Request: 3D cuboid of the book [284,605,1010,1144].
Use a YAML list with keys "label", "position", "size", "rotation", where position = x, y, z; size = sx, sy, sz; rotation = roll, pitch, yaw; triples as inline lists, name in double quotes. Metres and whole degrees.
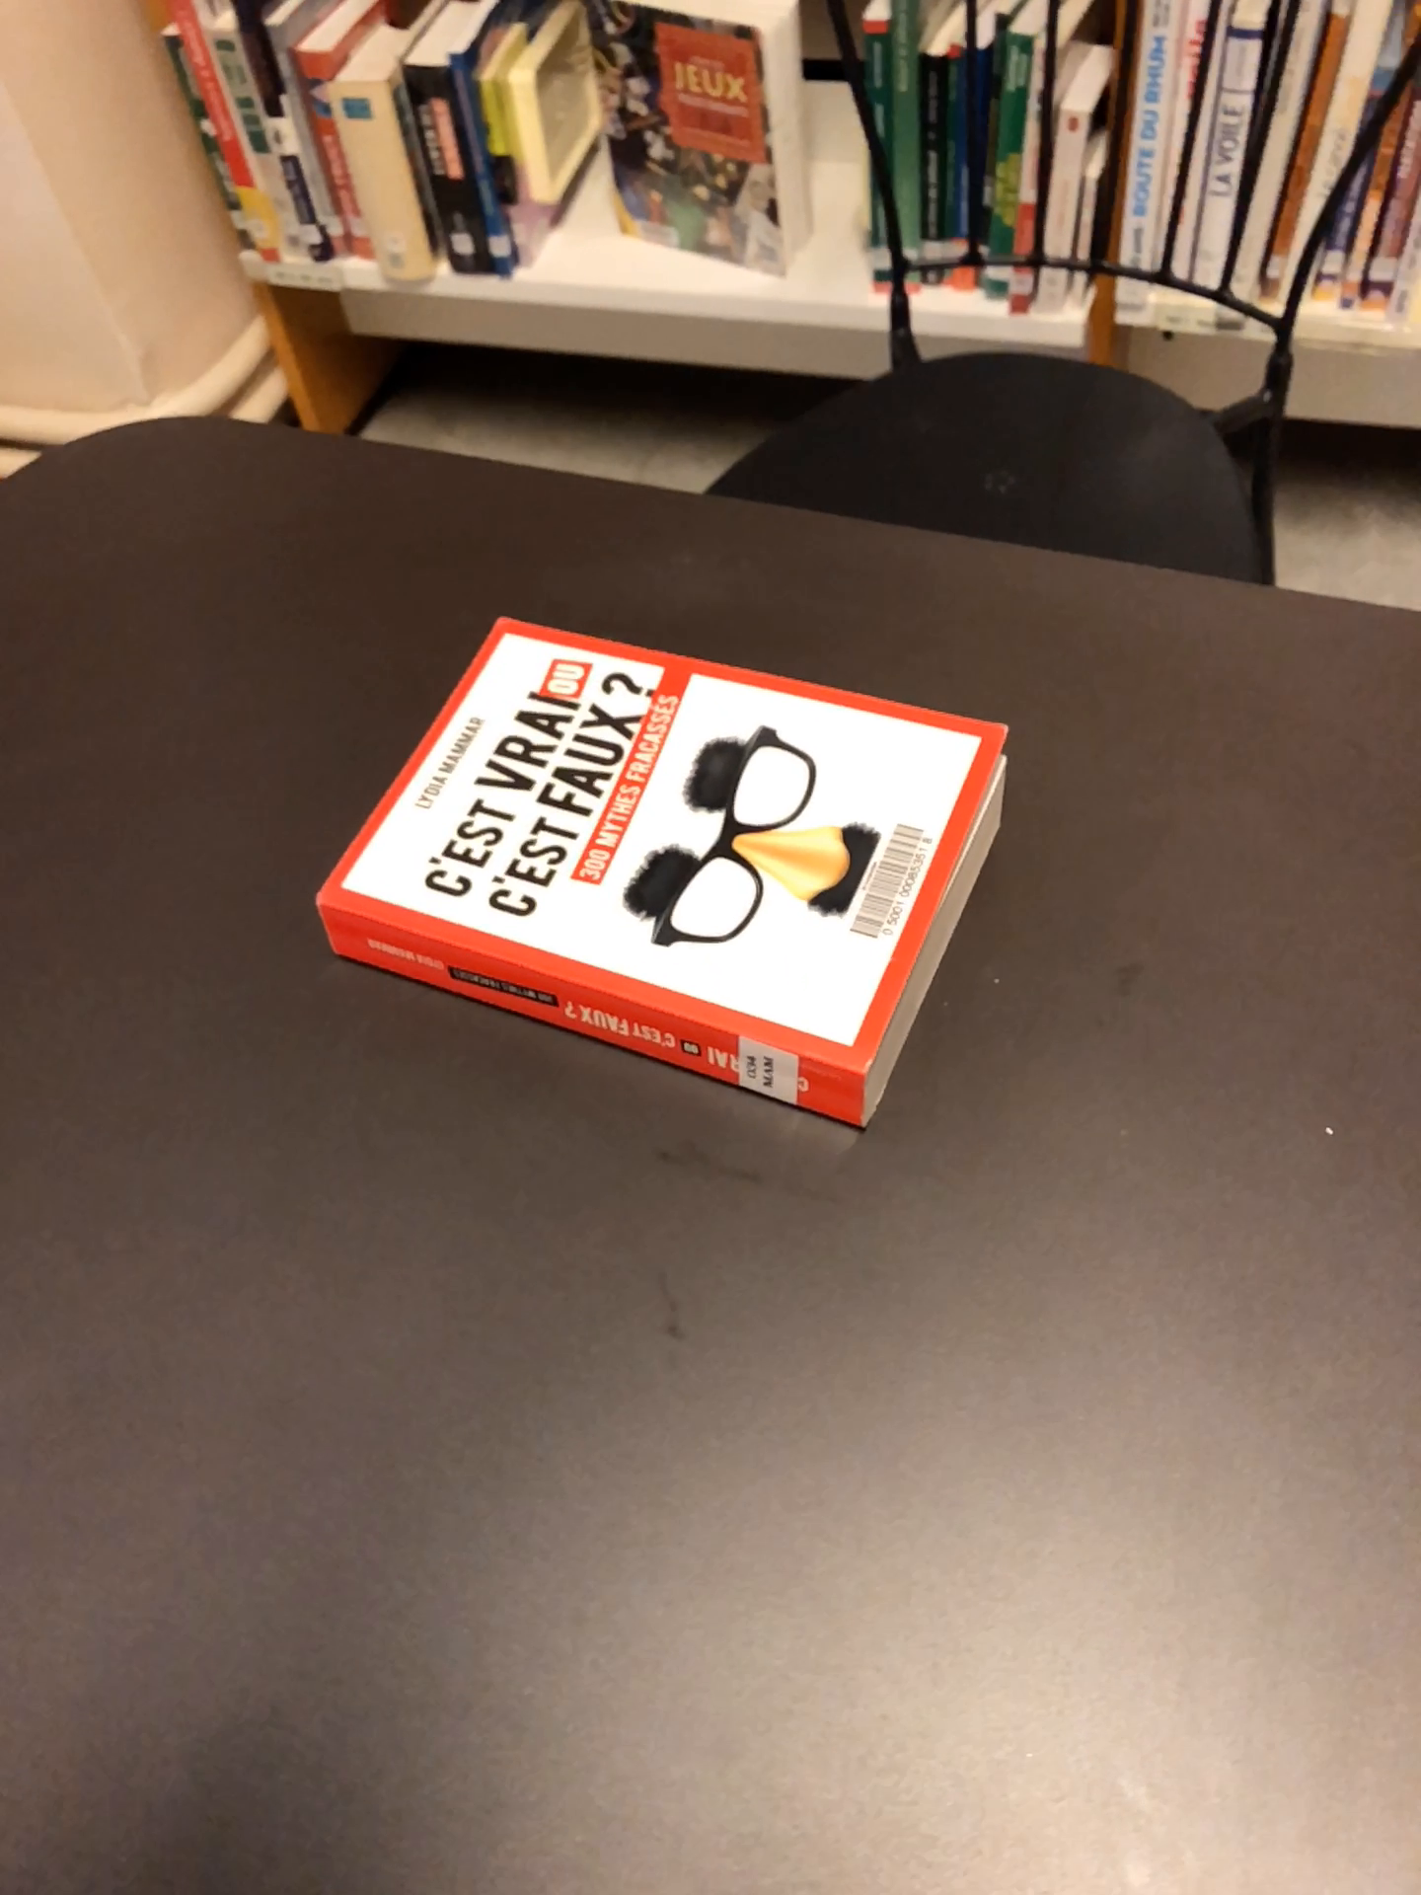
- label: "book"
  position: [-0.017, -0.030, 0.485]
  size: [0.184, 0.034, 0.127]
  rotation: [17, 61, 18]
